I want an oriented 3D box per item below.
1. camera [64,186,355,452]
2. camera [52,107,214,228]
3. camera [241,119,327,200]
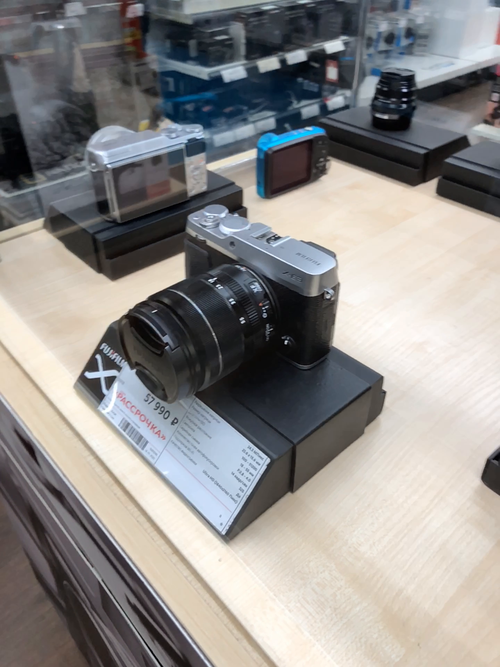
[{"bbox_3d":[-0.026,-0.020,0.352,0.116,0.080,0.132,-29,47,-32],"label":"camera"},{"bbox_3d":[-0.112,-0.170,0.553,0.132,0.068,0.077,-29,47,-32],"label":"camera"},{"bbox_3d":[0.041,-0.211,0.667,0.101,0.064,0.036,-27,48,-30],"label":"camera"}]
